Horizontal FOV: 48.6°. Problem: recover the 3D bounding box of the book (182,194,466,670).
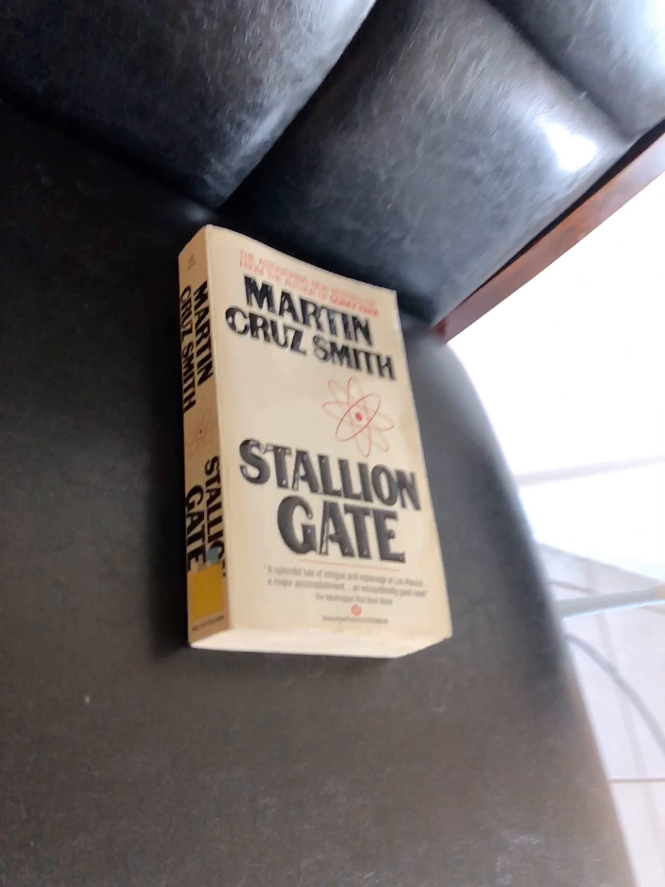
[{"bbox_3d":[-0.007,-0.004,0.318,0.110,0.030,0.190,17,54,-40],"label":"book"}]
